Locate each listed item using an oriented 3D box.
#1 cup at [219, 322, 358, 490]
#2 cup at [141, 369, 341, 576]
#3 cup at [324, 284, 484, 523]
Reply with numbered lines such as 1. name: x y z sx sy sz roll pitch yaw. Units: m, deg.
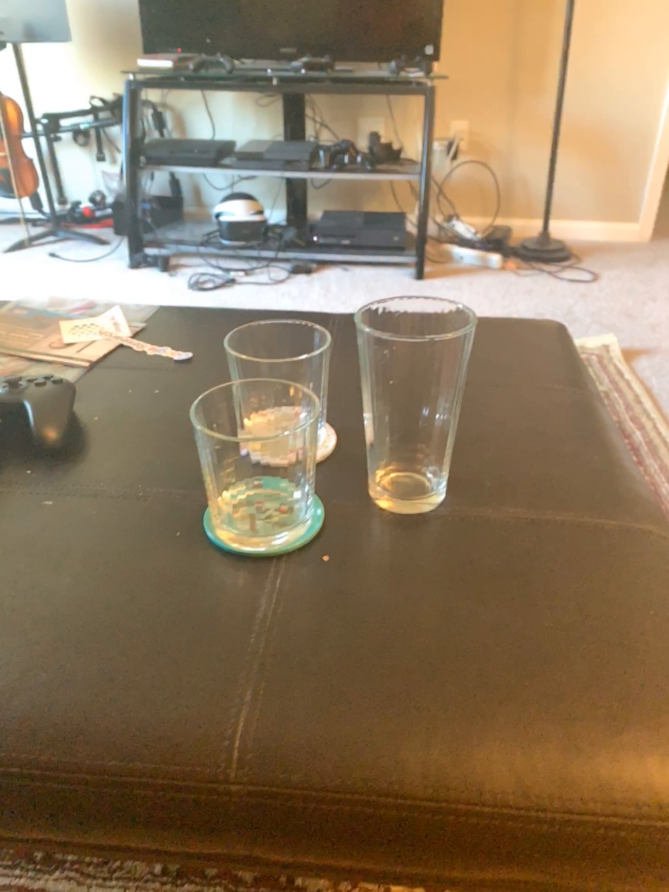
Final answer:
1. cup: -0.039 -0.039 0.621 0.090 0.109 0.080 17 35 26
2. cup: -0.062 0.014 0.489 0.100 0.089 0.090 17 35 26
3. cup: 0.050 -0.034 0.519 0.080 0.139 0.090 17 35 26
